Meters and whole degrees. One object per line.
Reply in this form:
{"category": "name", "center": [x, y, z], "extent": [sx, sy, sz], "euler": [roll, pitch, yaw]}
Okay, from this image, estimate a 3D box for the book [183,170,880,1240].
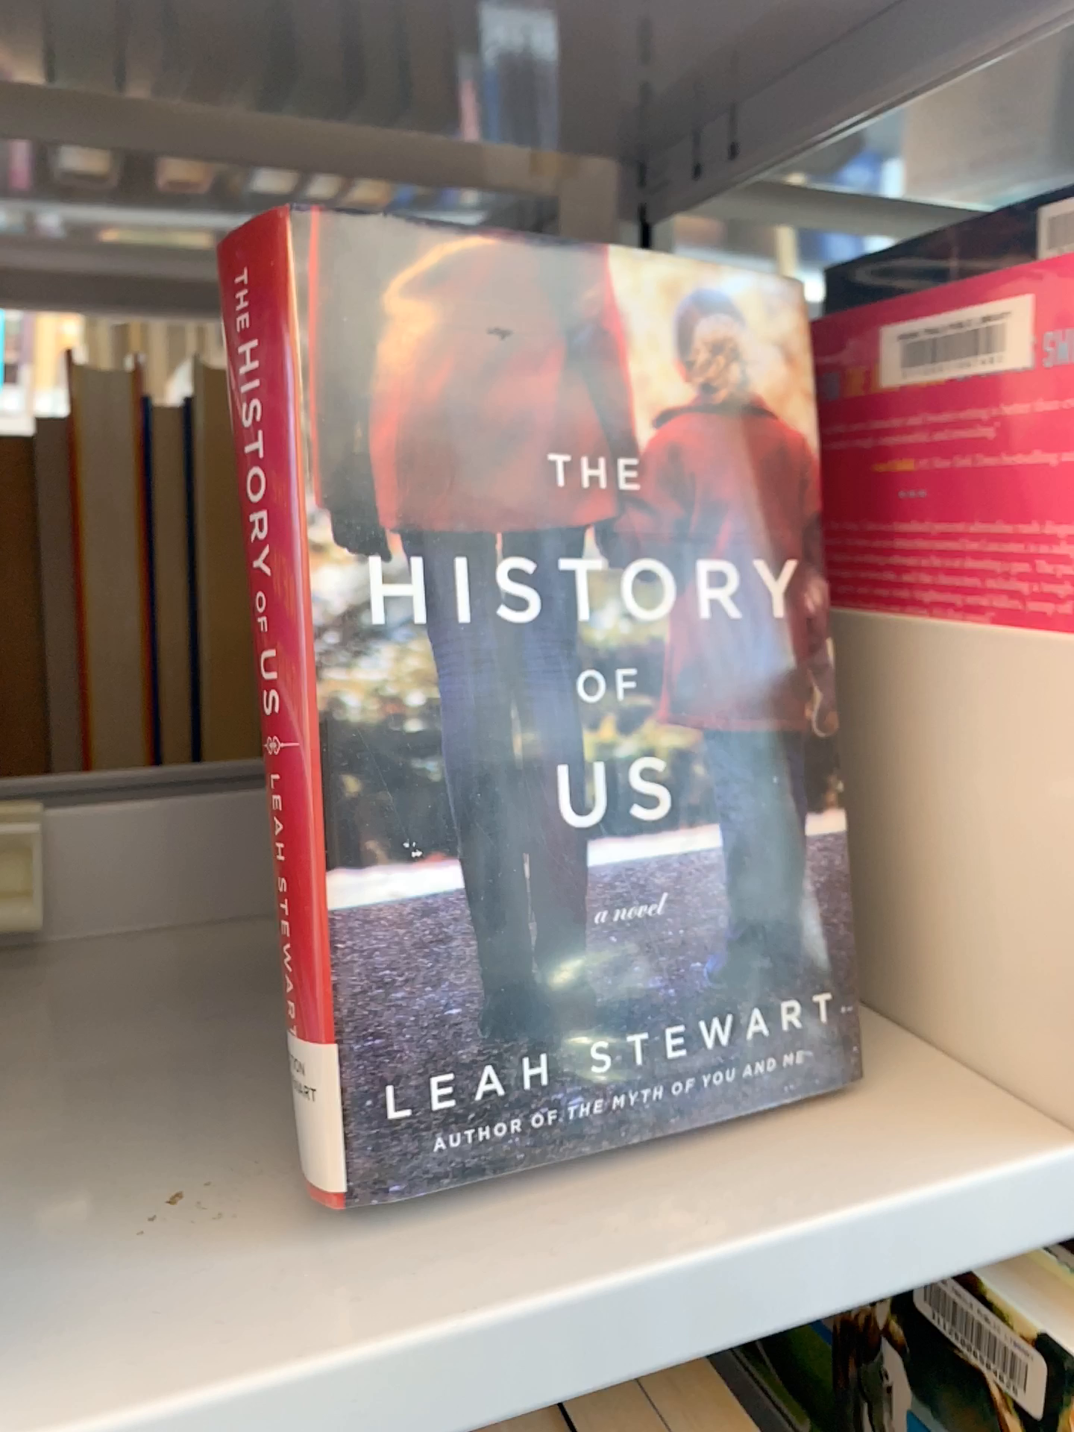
{"category": "book", "center": [0.003, -0.008, 0.279], "extent": [0.152, 0.220, 0.040], "euler": [-5, 0, -23]}
